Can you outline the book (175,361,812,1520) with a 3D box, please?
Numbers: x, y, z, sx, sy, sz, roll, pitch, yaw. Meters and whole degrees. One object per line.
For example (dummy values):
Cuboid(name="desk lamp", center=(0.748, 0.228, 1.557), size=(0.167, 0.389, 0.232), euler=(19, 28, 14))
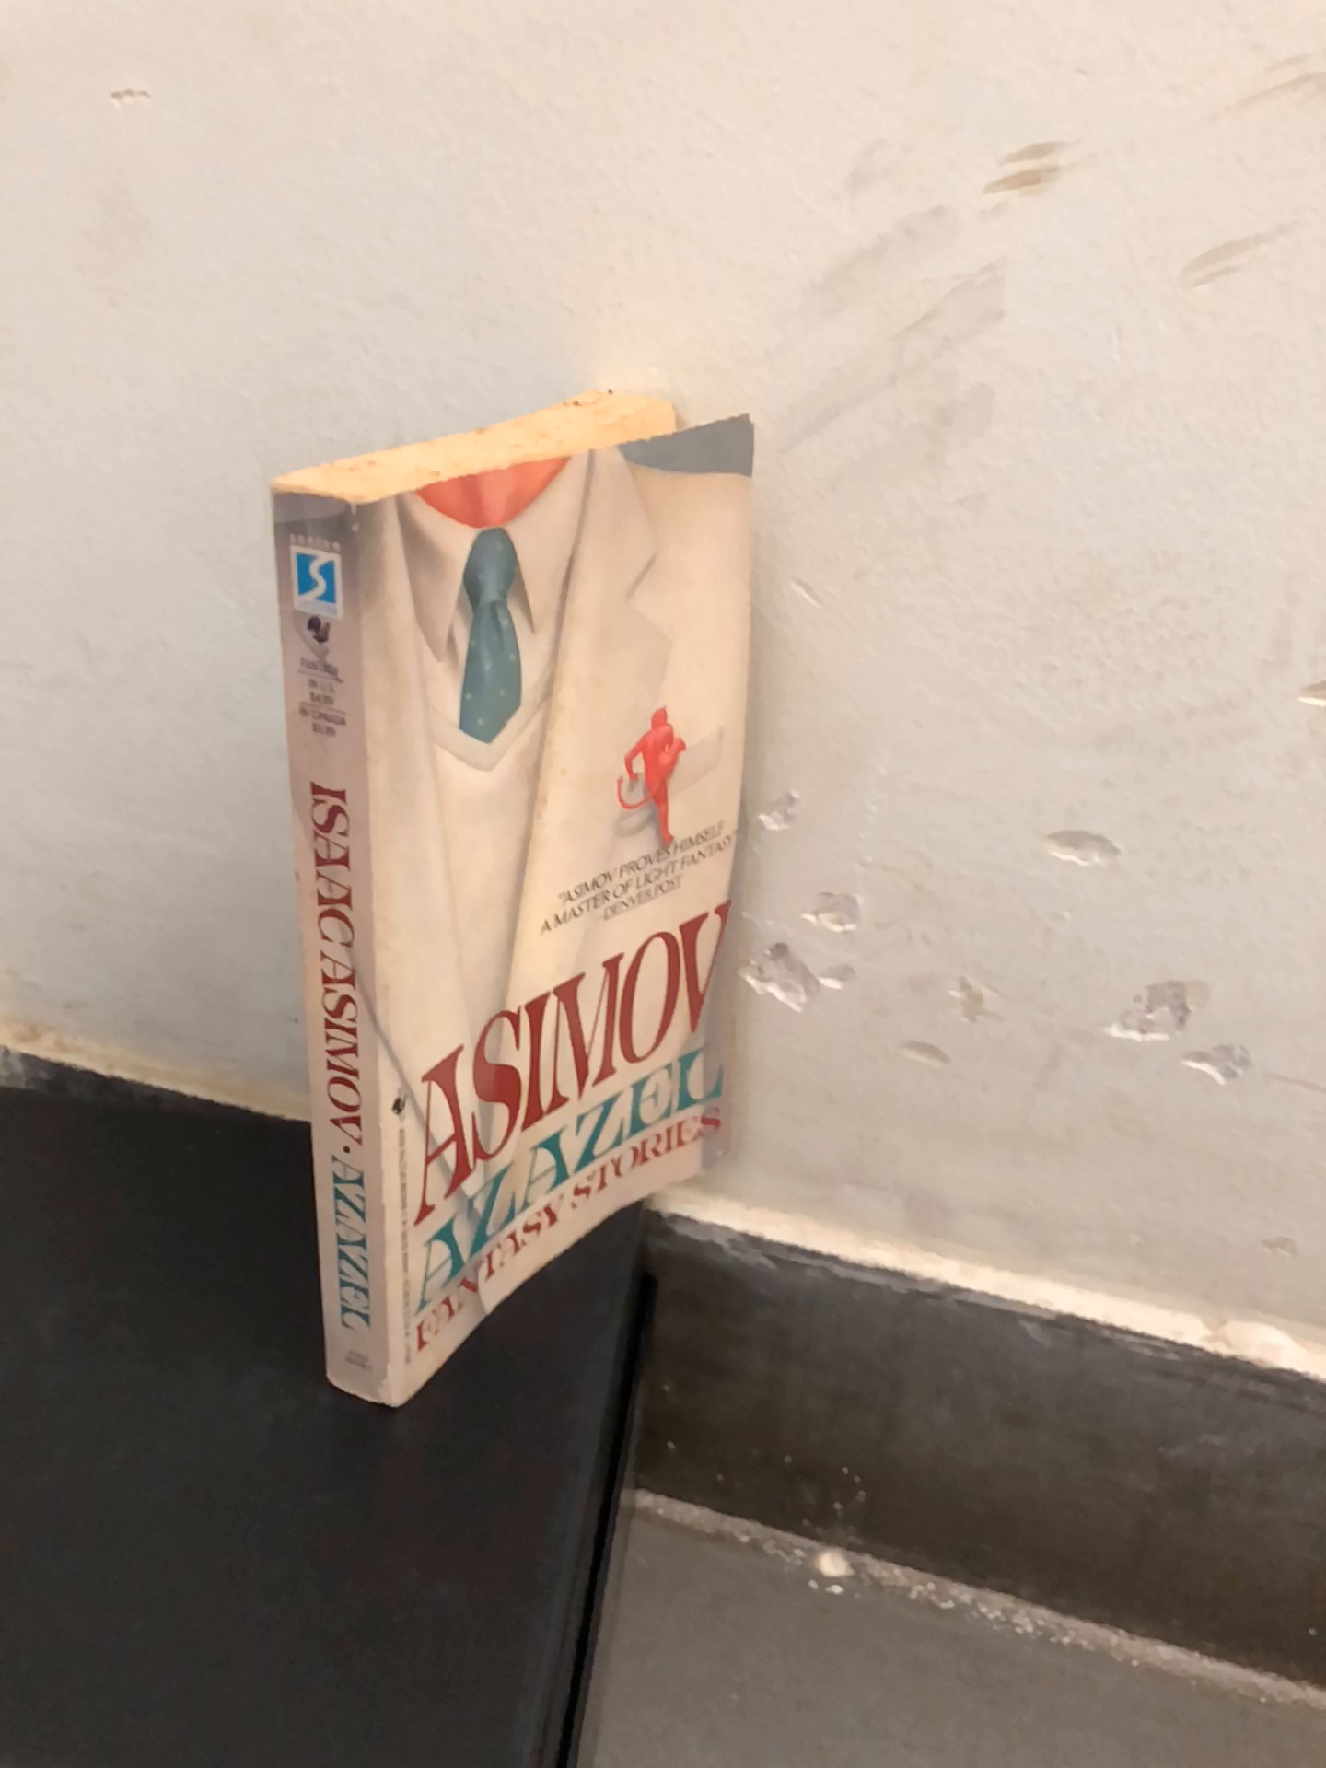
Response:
Cuboid(name="book", center=(-0.019, 0.002, 0.301), size=(0.030, 0.189, 0.151), euler=(14, 29, 26))
